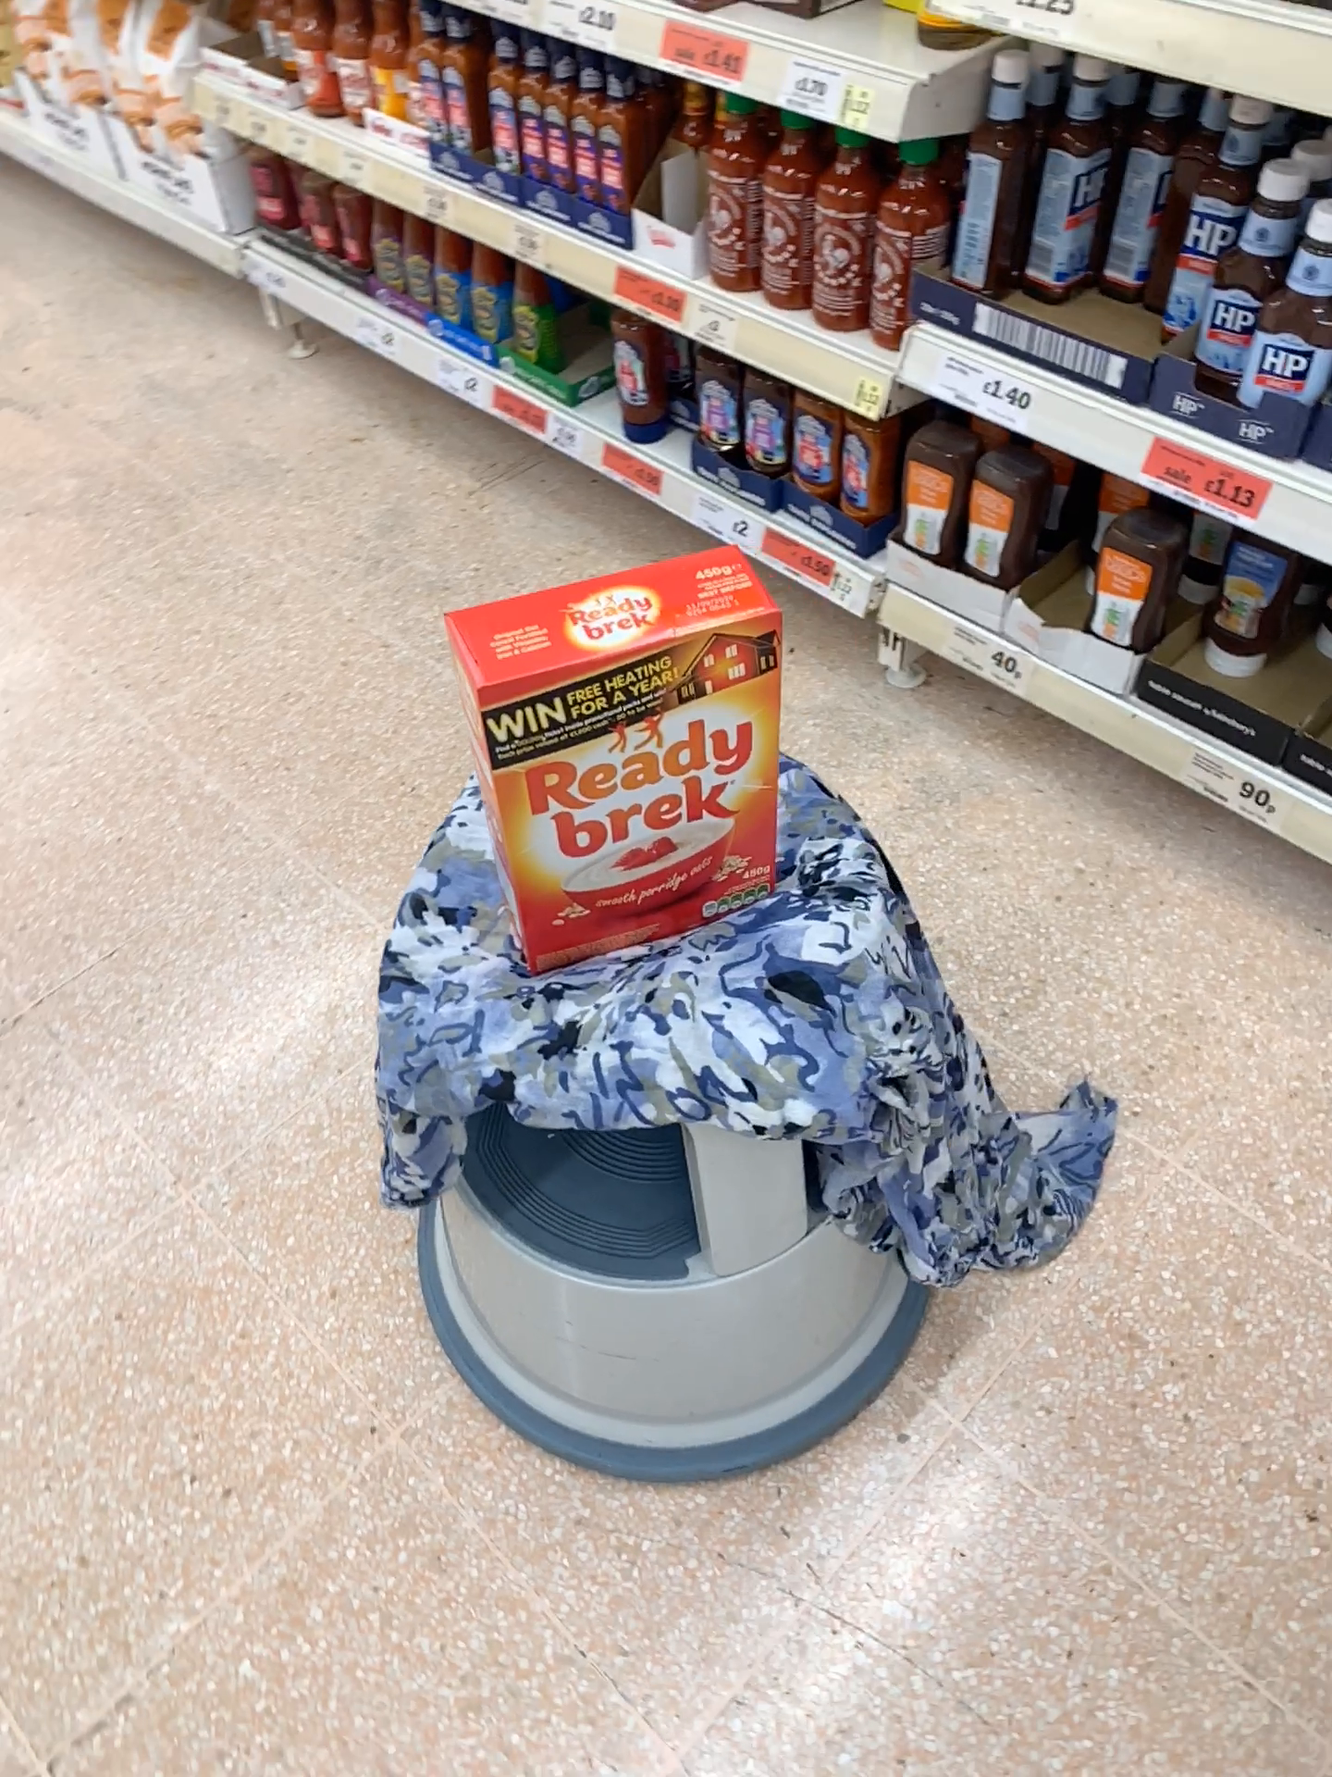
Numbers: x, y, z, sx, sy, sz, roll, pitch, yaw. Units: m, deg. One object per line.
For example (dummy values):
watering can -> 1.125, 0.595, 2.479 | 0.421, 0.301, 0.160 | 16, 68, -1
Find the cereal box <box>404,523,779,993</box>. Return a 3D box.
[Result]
cereal box -> -0.030, -0.062, 0.740 | 0.170, 0.238, 0.060 | -16, 49, -10
